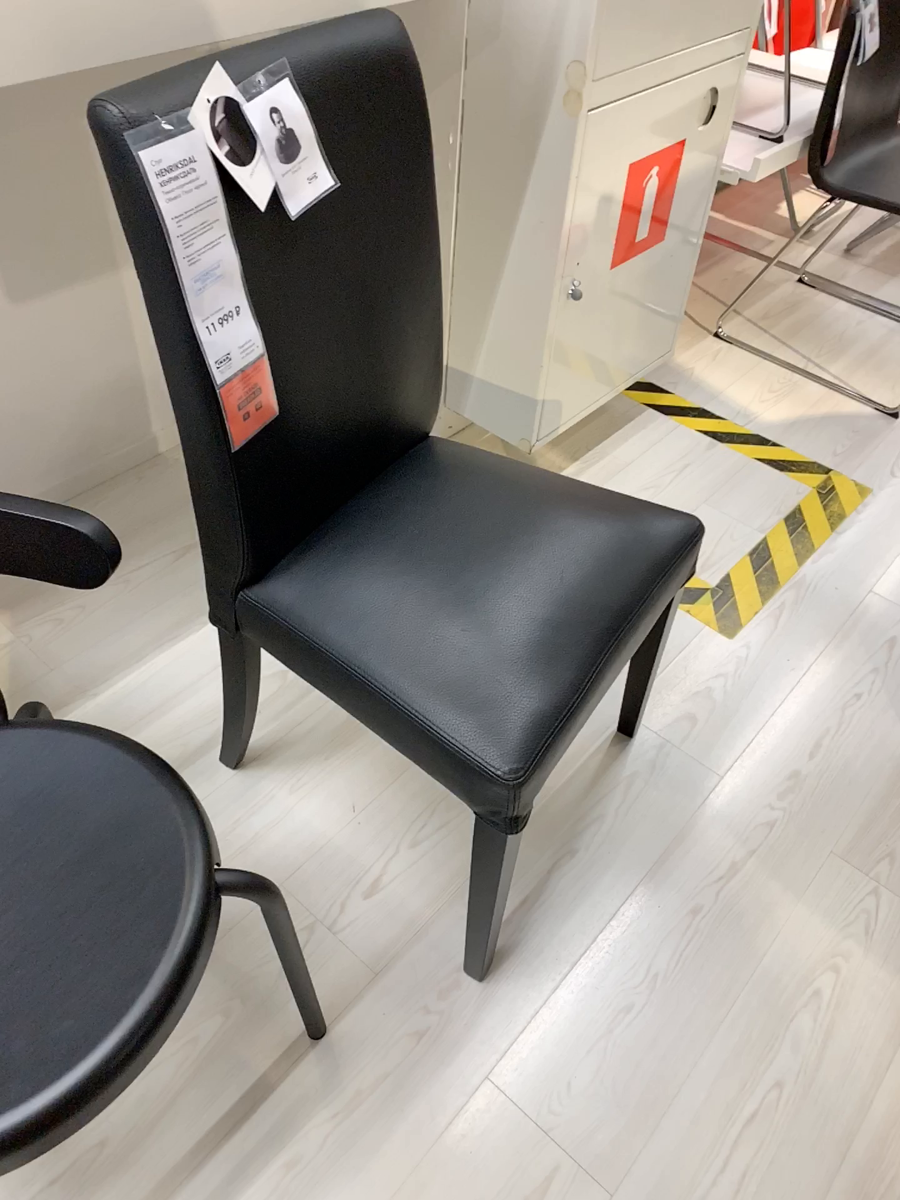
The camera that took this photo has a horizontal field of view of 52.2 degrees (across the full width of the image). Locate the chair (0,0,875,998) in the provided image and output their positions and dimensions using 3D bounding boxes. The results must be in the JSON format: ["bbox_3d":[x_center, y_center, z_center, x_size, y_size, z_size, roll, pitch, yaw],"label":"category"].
[{"bbox_3d":[-0.017,-0.104,1.170,0.600,0.975,0.583,26,48,20],"label":"chair"}]
